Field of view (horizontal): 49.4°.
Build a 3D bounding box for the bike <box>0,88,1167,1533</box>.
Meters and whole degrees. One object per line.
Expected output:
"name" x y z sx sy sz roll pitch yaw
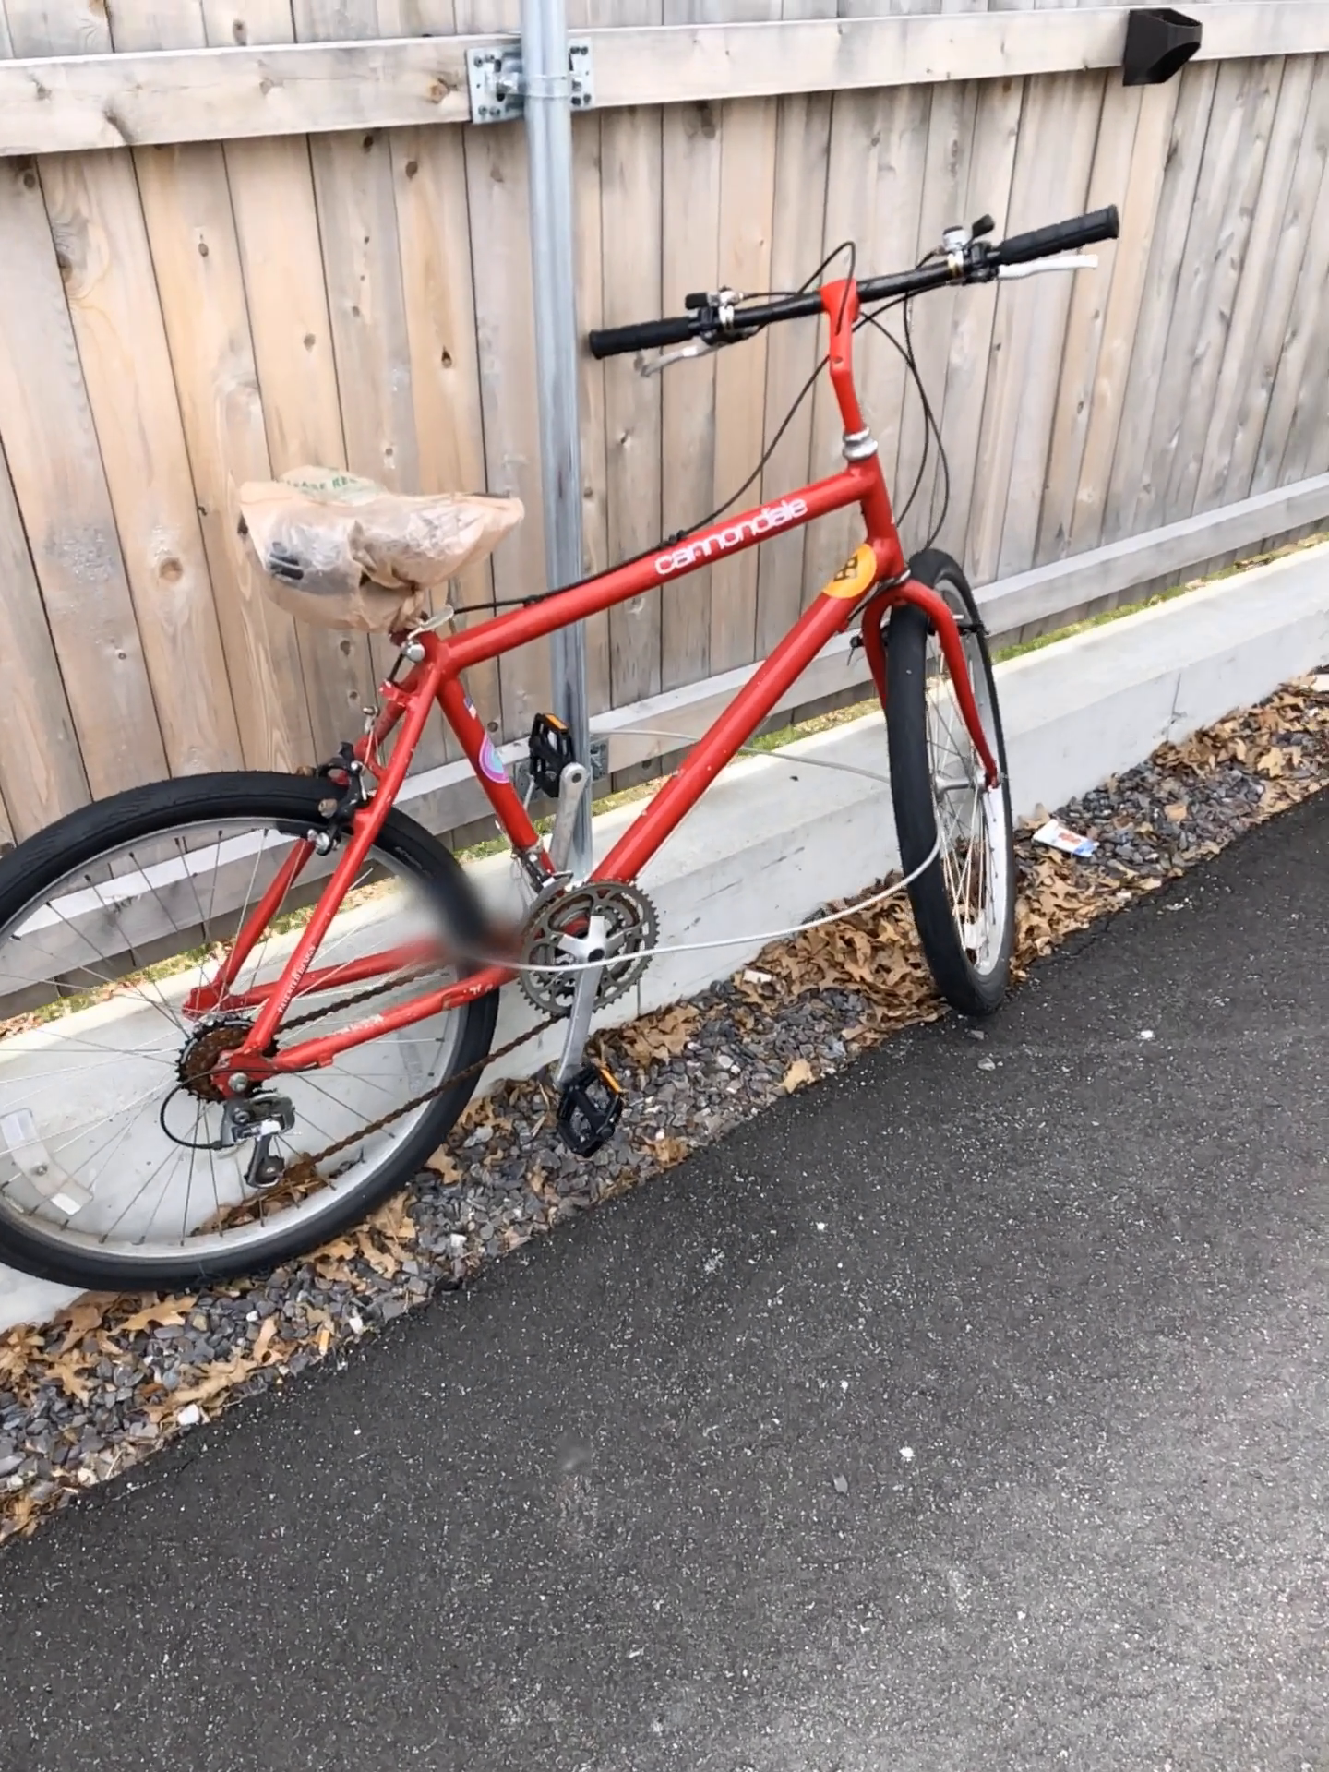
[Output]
"bike" -0.165 -0.249 1.693 1.479 1.001 0.594 -25 39 -29
